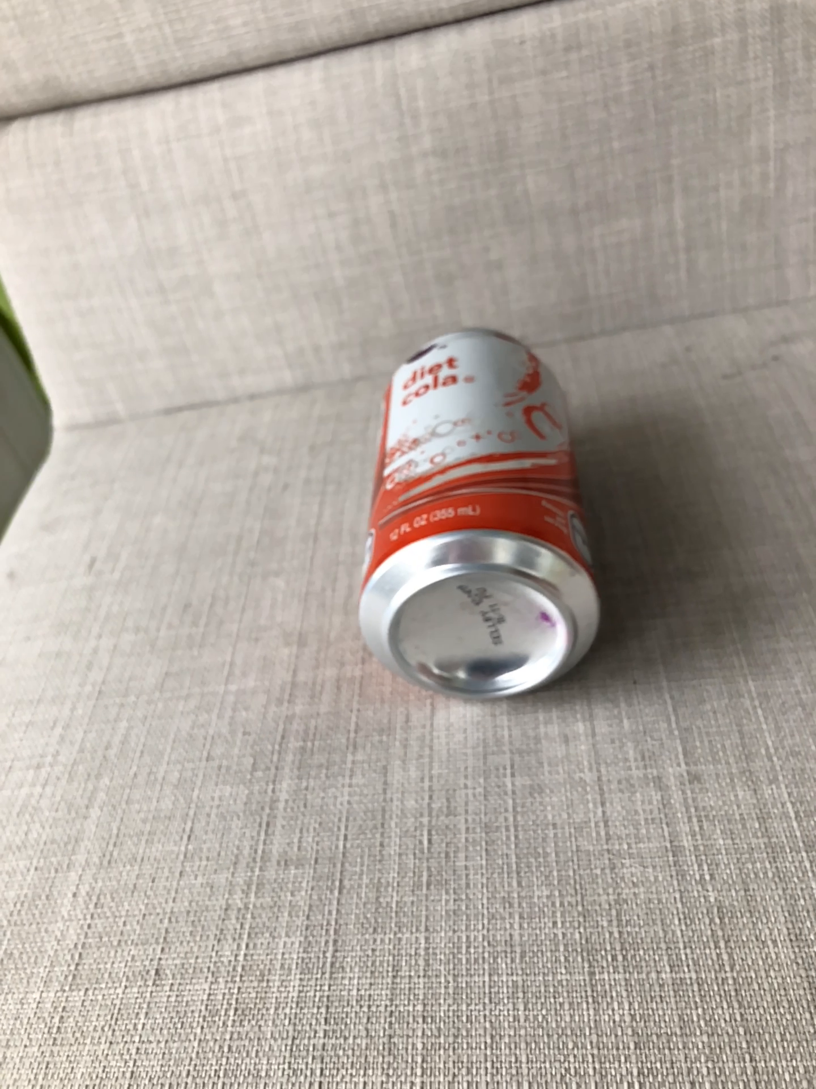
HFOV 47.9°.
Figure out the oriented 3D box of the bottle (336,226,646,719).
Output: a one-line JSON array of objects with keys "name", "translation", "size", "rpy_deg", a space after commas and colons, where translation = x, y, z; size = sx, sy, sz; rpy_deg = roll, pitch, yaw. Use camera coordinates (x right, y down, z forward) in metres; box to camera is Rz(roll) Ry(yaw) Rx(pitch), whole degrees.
[{"name": "bottle", "translation": [0.025, -0.030, 0.286], "size": [0.070, 0.062, 0.150], "rpy_deg": [-8, 43, 9]}]
